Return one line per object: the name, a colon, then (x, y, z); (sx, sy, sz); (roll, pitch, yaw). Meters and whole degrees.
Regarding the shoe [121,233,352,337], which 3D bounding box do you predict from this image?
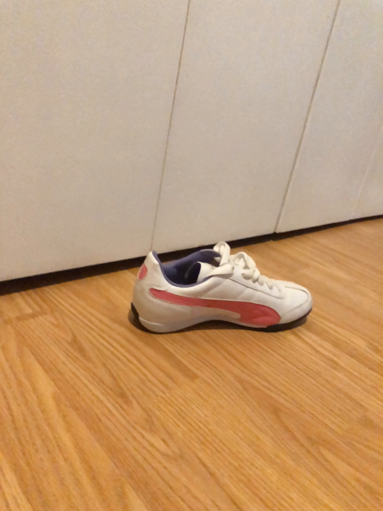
shoe: (0.055, 0.033, 0.537); (0.260, 0.080, 0.100); (1, 25, -23)
